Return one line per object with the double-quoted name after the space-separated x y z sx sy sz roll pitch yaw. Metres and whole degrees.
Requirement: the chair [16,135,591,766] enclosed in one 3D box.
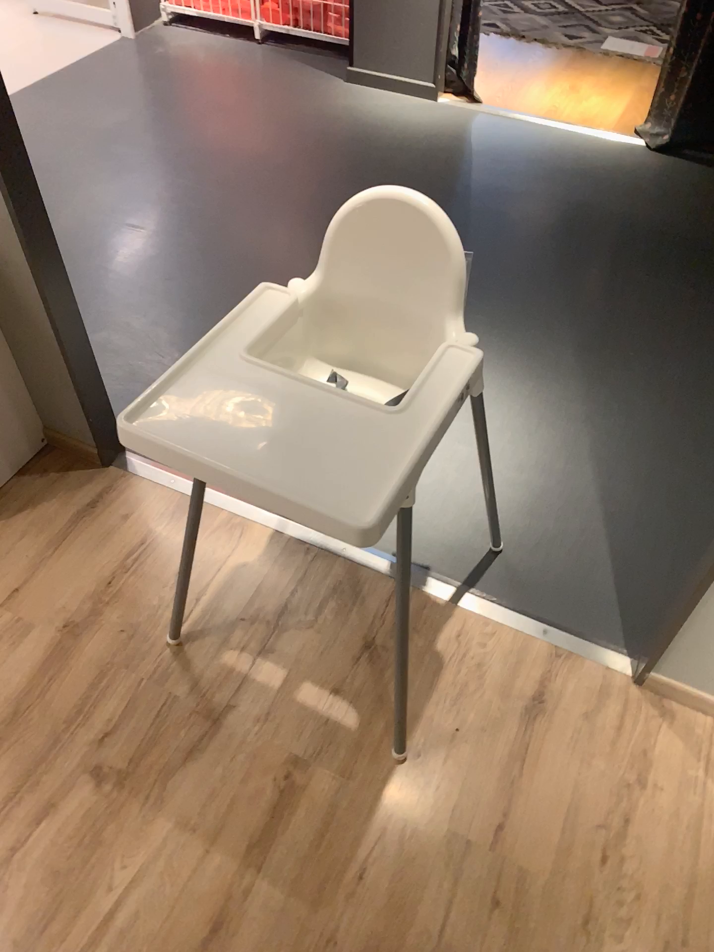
-0.038 -0.030 1.308 0.570 0.798 0.621 21 52 16 "chair"
